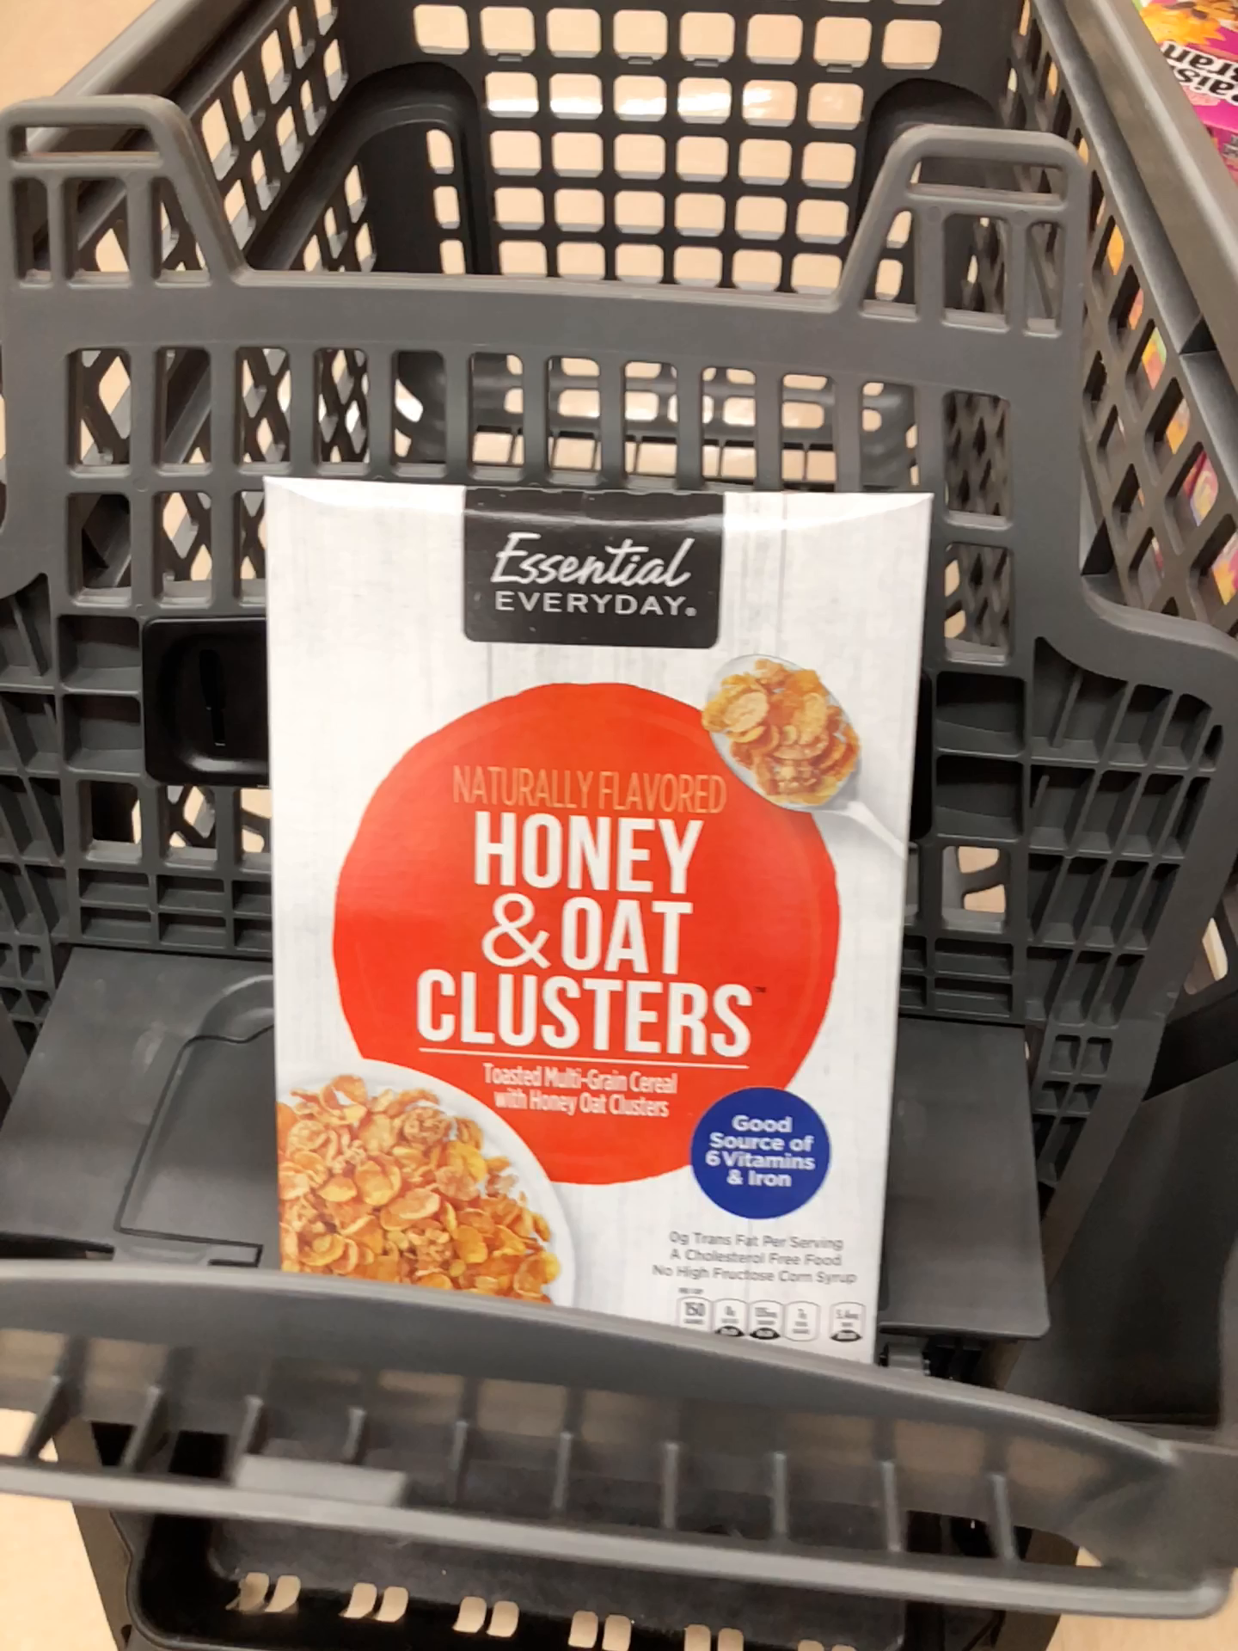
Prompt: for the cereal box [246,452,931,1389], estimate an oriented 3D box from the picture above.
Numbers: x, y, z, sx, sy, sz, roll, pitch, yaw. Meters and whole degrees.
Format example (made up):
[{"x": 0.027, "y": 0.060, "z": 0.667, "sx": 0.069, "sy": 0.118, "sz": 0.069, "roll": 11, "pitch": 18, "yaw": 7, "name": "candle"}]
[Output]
[{"x": -0.011, "y": 0.029, "z": 0.440, "sx": 0.190, "sy": 0.280, "sz": 0.070, "roll": 2, "pitch": 12, "yaw": 3, "name": "cereal box"}]
